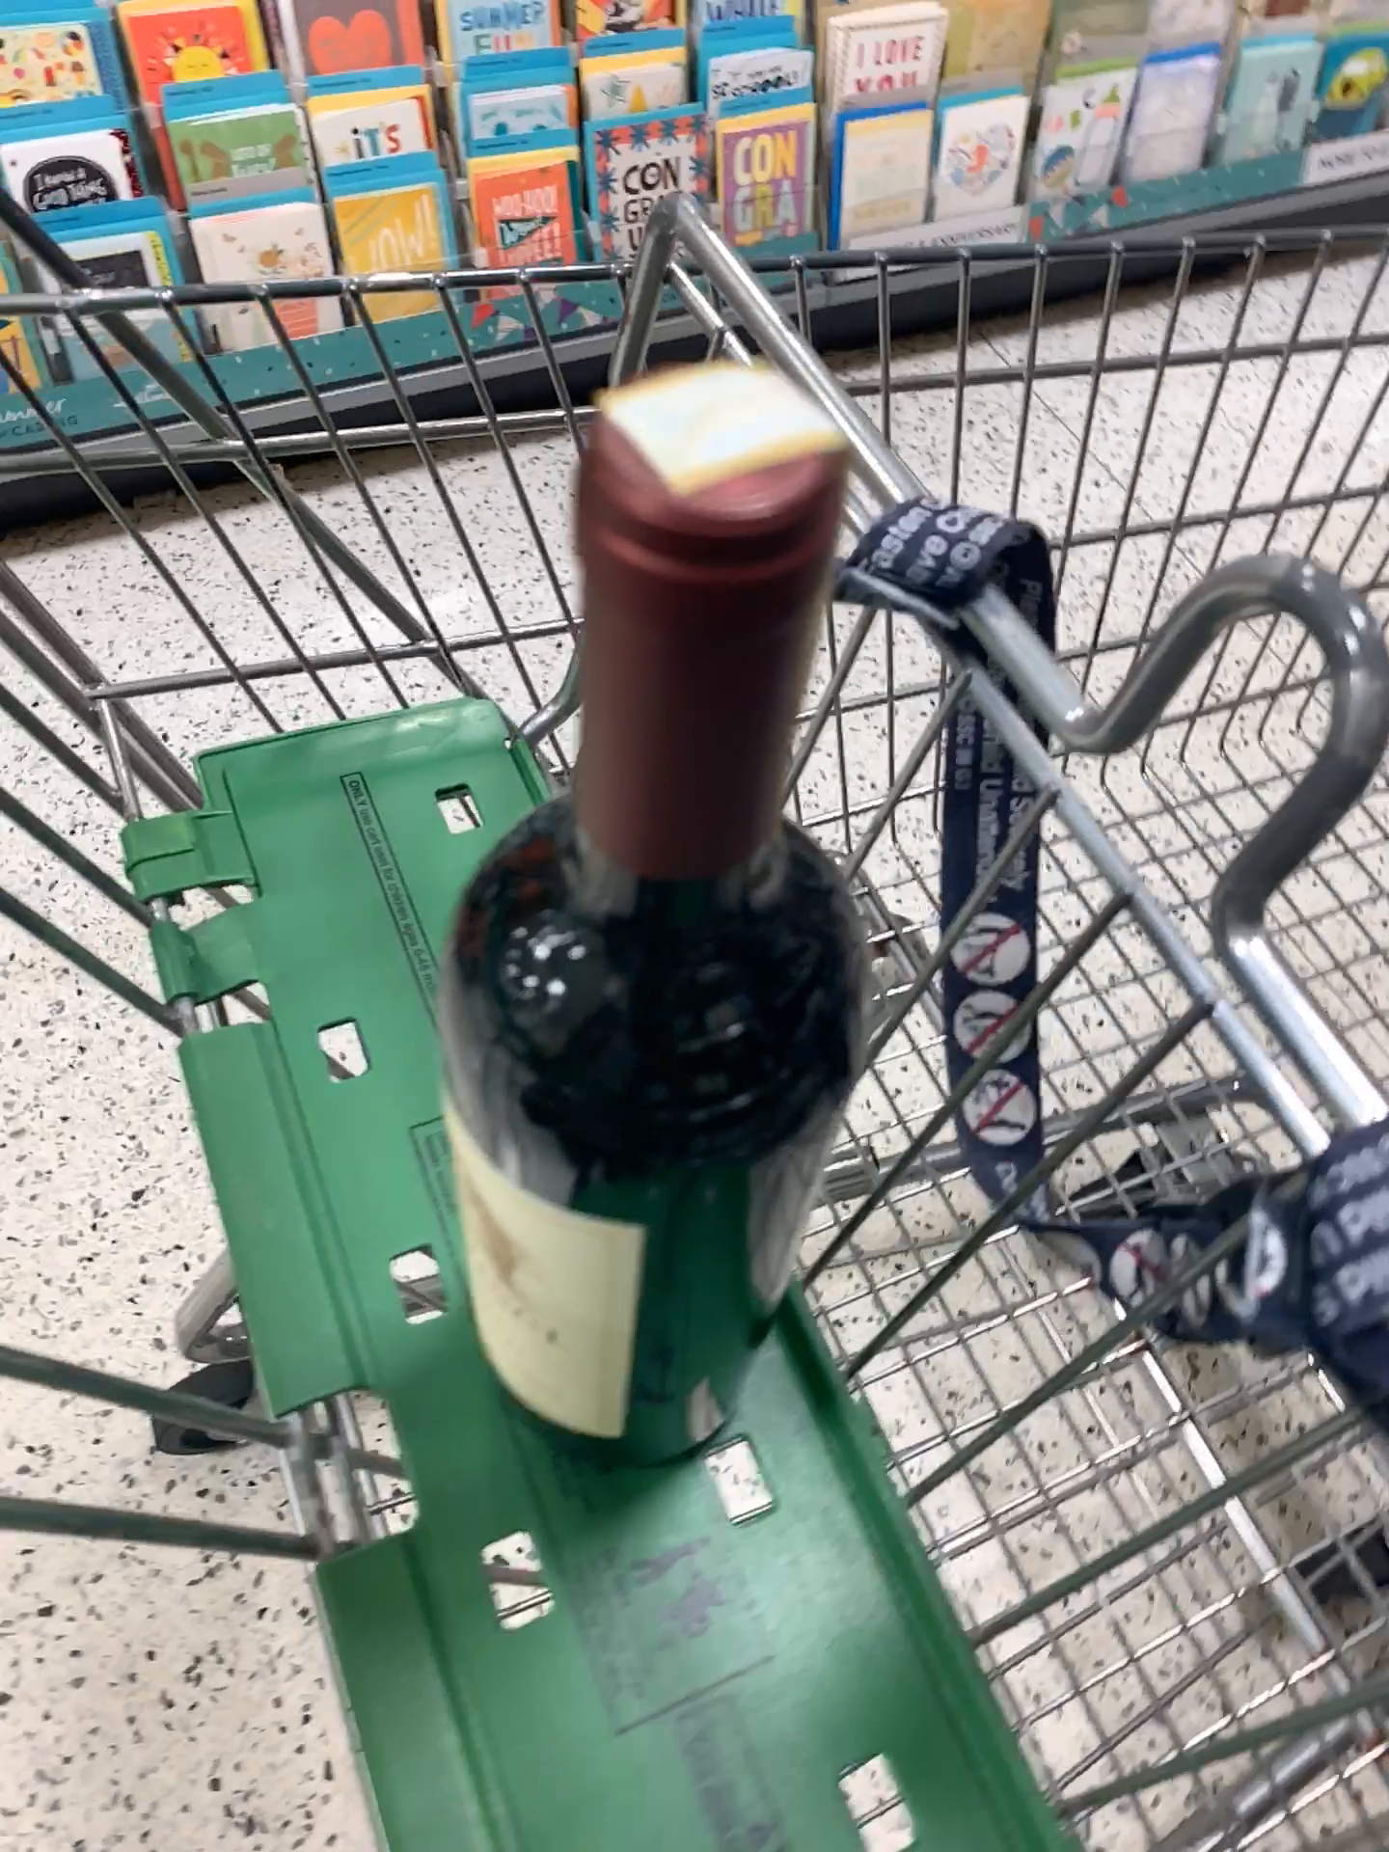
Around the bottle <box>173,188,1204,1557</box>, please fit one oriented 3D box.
[{"bbox_3d":[-0.014,0.027,0.255,0.080,0.268,0.081,3,54,-4],"label":"bottle"}]
